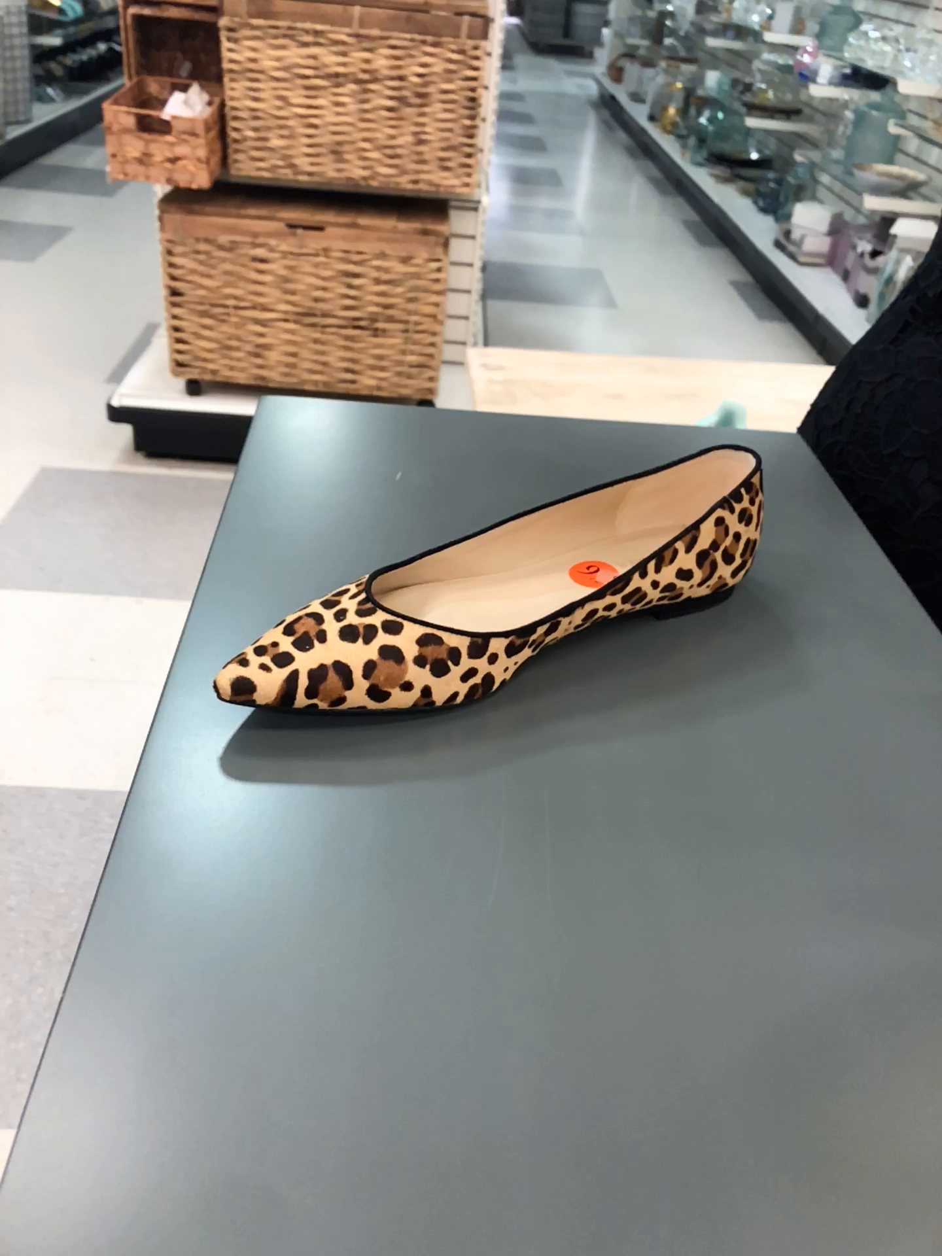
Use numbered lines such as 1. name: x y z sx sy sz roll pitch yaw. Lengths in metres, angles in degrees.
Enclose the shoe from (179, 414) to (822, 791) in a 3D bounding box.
1. shoe: 0.022 -0.027 0.485 0.286 0.073 0.097 -17 39 -30
